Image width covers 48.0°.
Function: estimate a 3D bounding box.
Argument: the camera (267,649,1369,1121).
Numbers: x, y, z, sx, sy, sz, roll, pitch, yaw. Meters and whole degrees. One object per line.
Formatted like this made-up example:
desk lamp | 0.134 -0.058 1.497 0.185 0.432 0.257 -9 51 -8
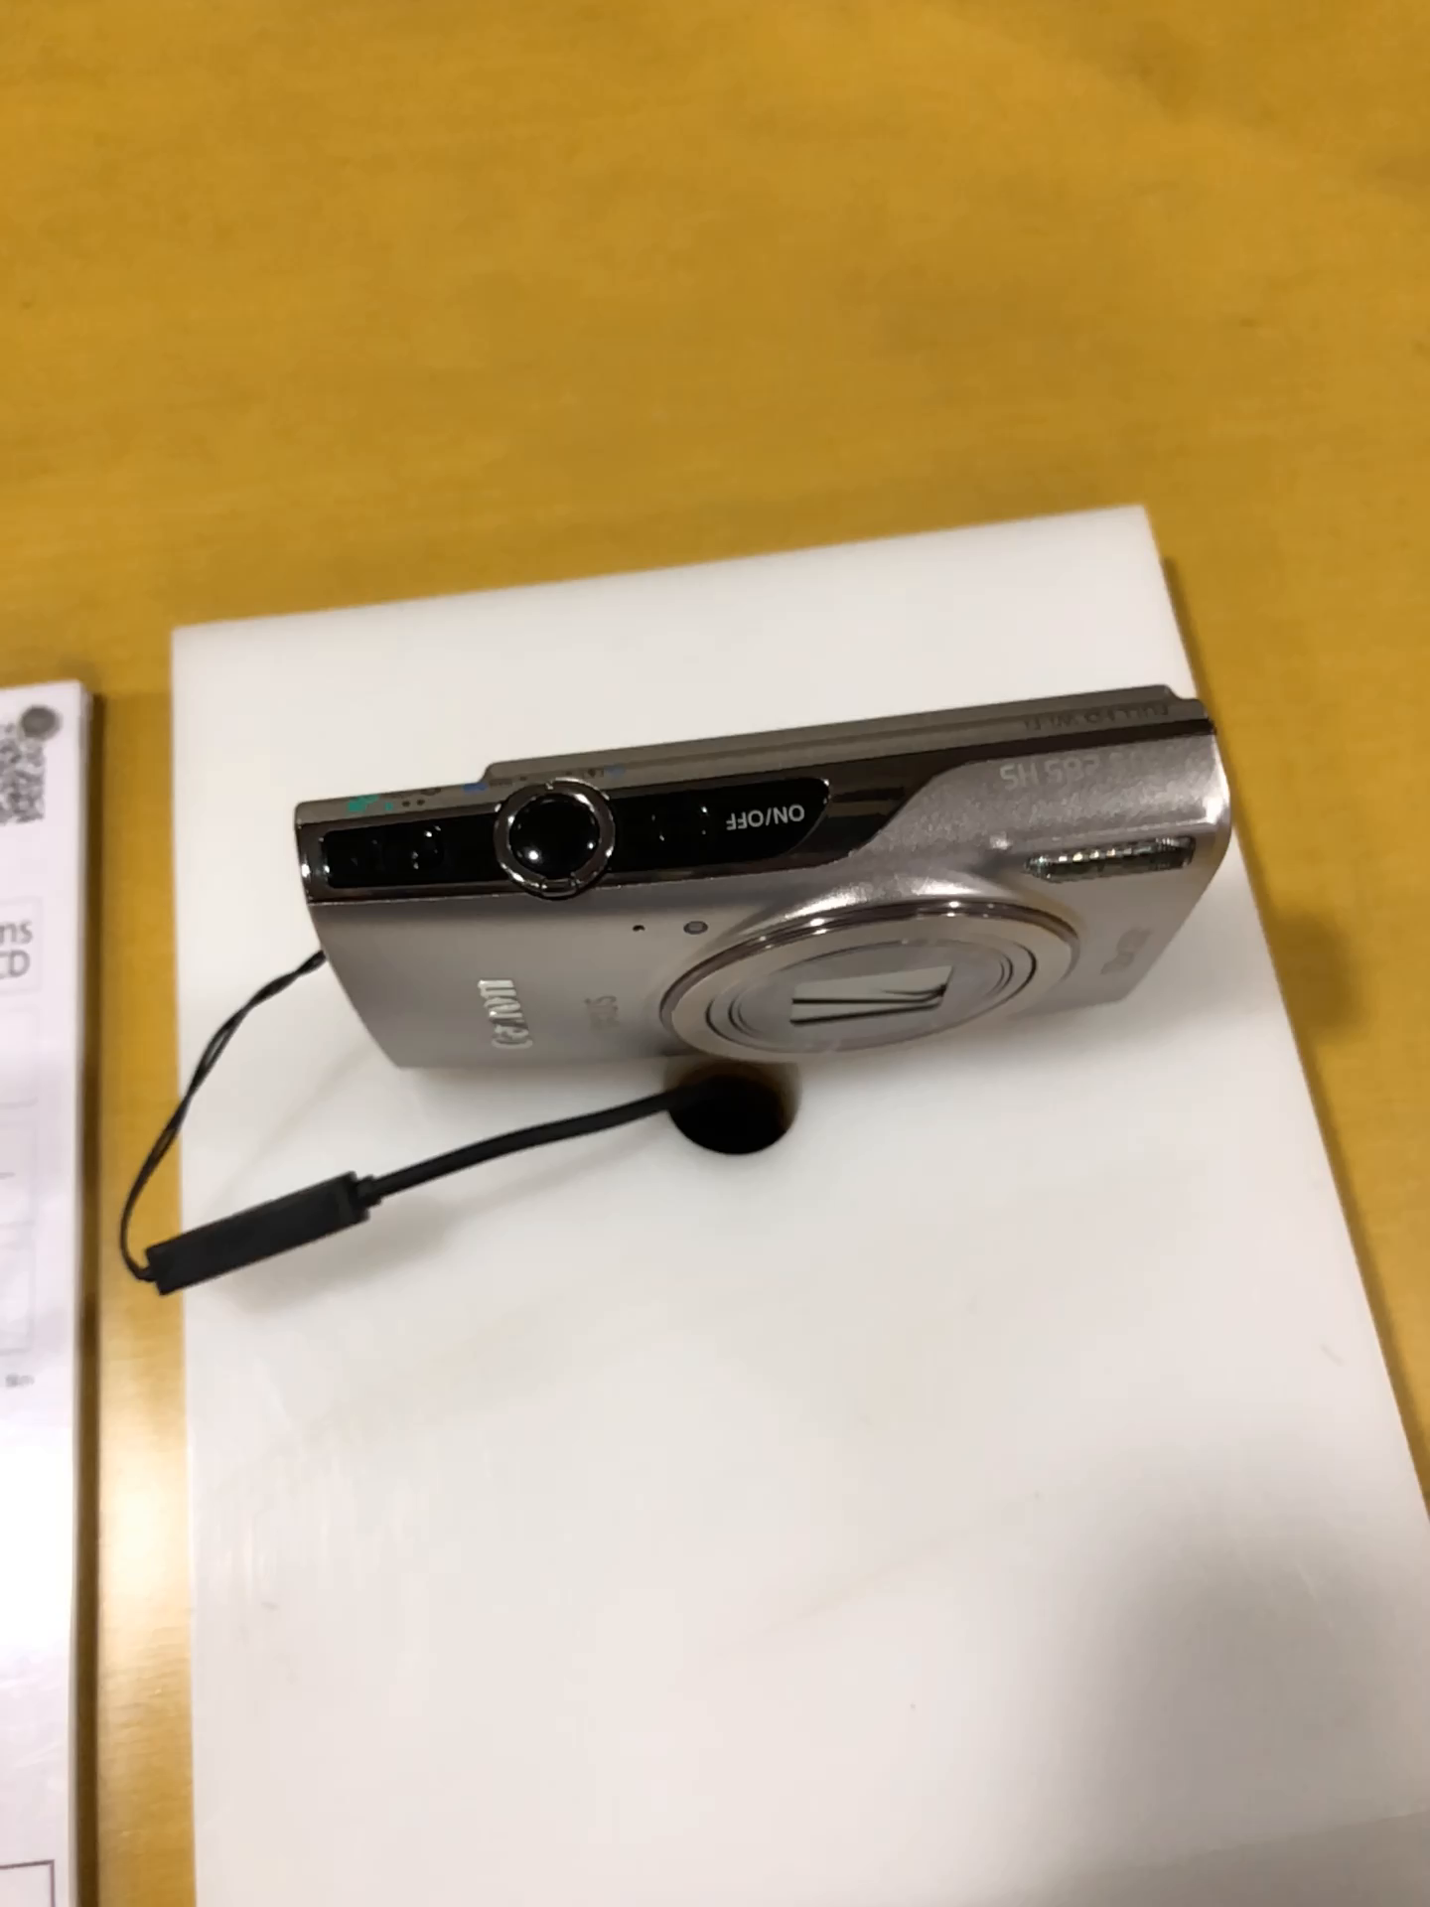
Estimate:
camera | 0.010 -0.005 0.191 0.110 0.060 0.020 -7 69 -3
